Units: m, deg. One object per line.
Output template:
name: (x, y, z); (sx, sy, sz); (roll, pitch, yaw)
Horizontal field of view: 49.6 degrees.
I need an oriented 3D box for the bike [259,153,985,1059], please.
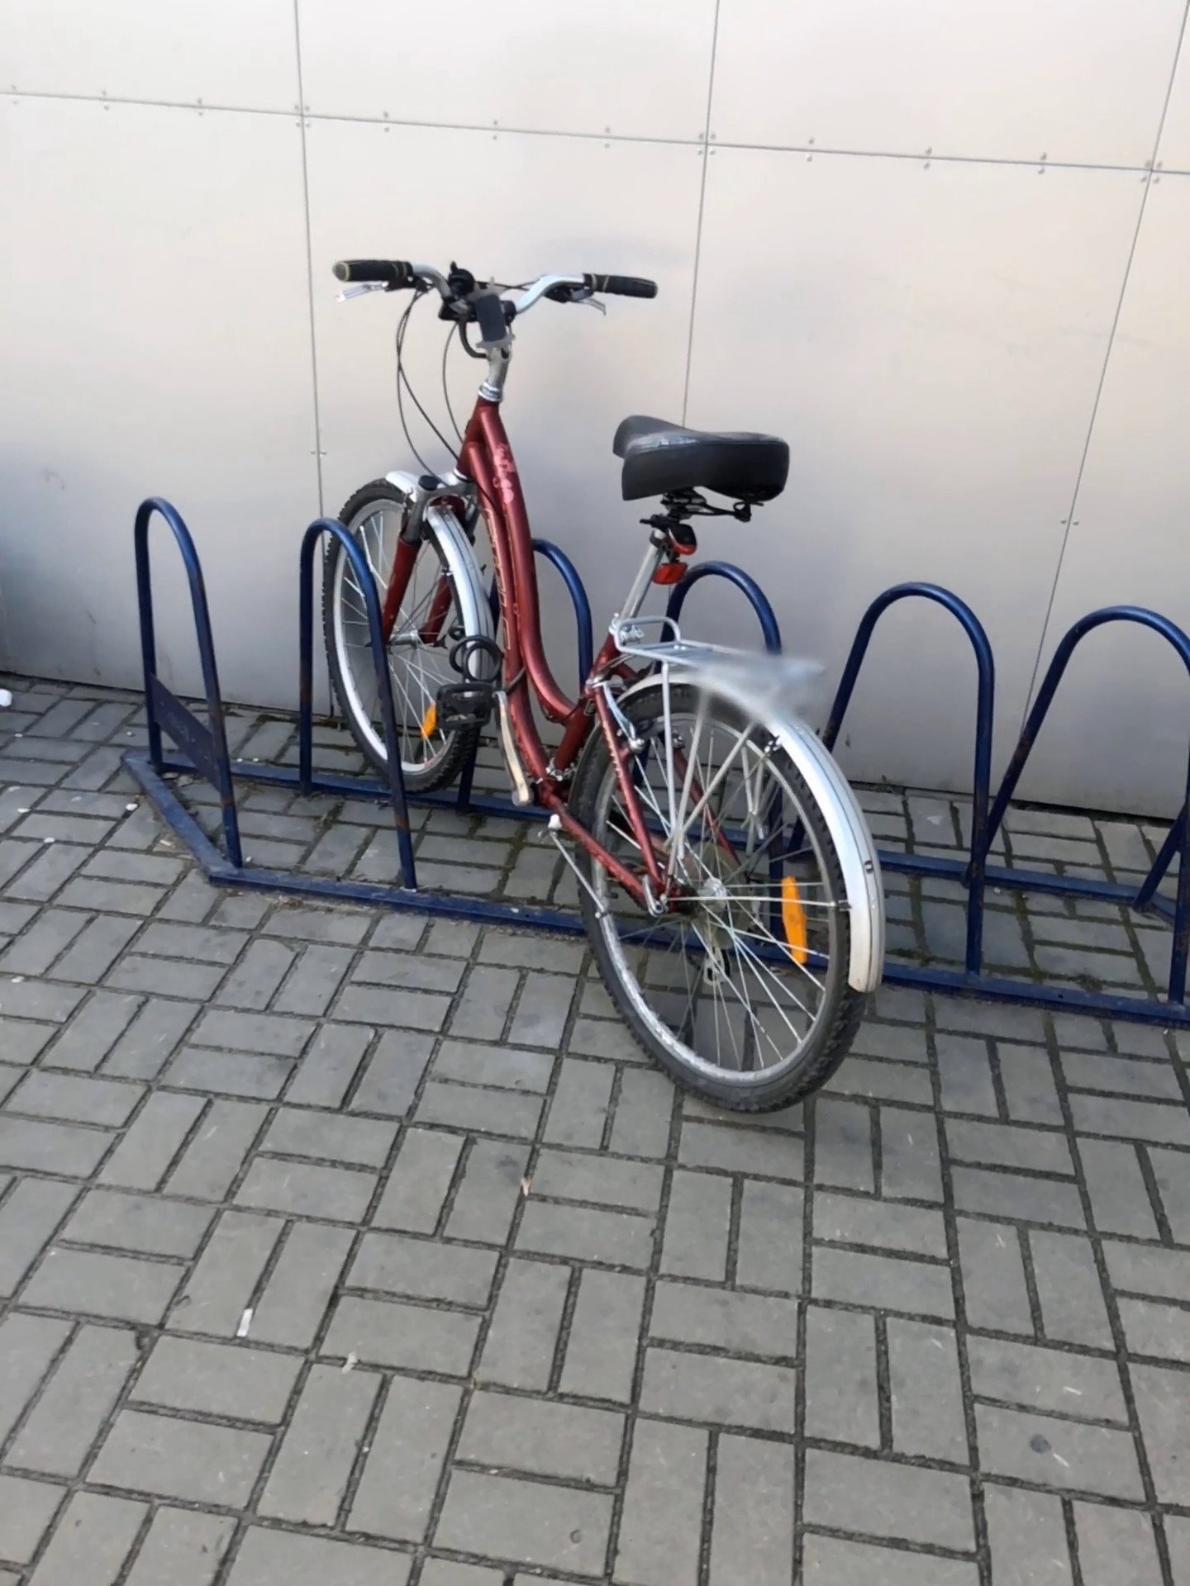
bike: (-0.068, -0.457, 2.257); (0.596, 0.972, 1.311); (-13, 37, -28)
